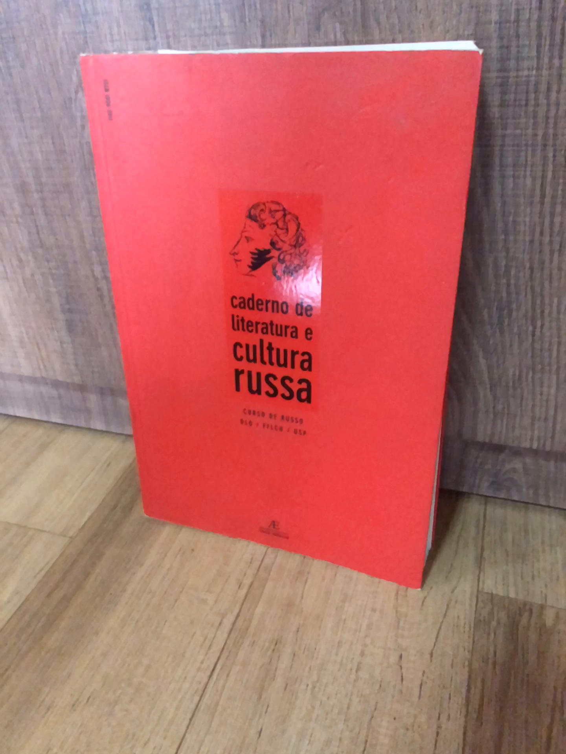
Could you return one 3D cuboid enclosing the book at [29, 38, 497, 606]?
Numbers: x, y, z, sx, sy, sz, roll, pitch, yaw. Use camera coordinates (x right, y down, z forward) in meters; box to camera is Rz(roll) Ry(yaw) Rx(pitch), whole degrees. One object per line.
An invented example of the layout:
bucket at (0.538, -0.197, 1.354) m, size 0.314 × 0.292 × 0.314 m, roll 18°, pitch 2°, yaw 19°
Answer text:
book at (-0.011, -0.020, 0.306) m, size 0.187 × 0.248 × 0.040 m, roll 9°, pitch 28°, yaw 20°
